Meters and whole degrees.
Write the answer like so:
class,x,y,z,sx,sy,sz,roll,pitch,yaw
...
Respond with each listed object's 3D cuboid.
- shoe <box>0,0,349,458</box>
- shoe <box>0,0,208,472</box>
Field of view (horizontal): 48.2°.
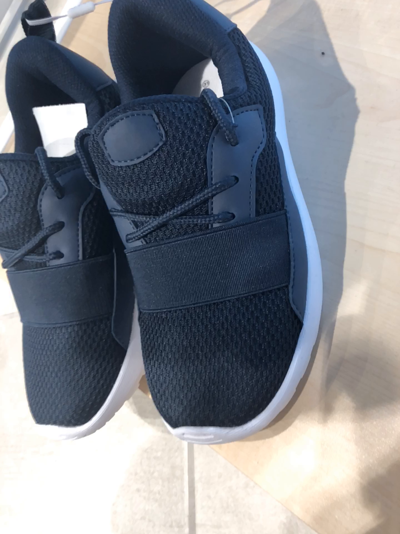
class,x,y,z,sx,sy,sz,roll,pitch,yaw
shoe,-0.007,-0.042,0.217,0.100,0.100,0.240,-13,68,28
shoe,-0.068,-0.025,0.258,0.090,0.100,0.240,-5,71,31
